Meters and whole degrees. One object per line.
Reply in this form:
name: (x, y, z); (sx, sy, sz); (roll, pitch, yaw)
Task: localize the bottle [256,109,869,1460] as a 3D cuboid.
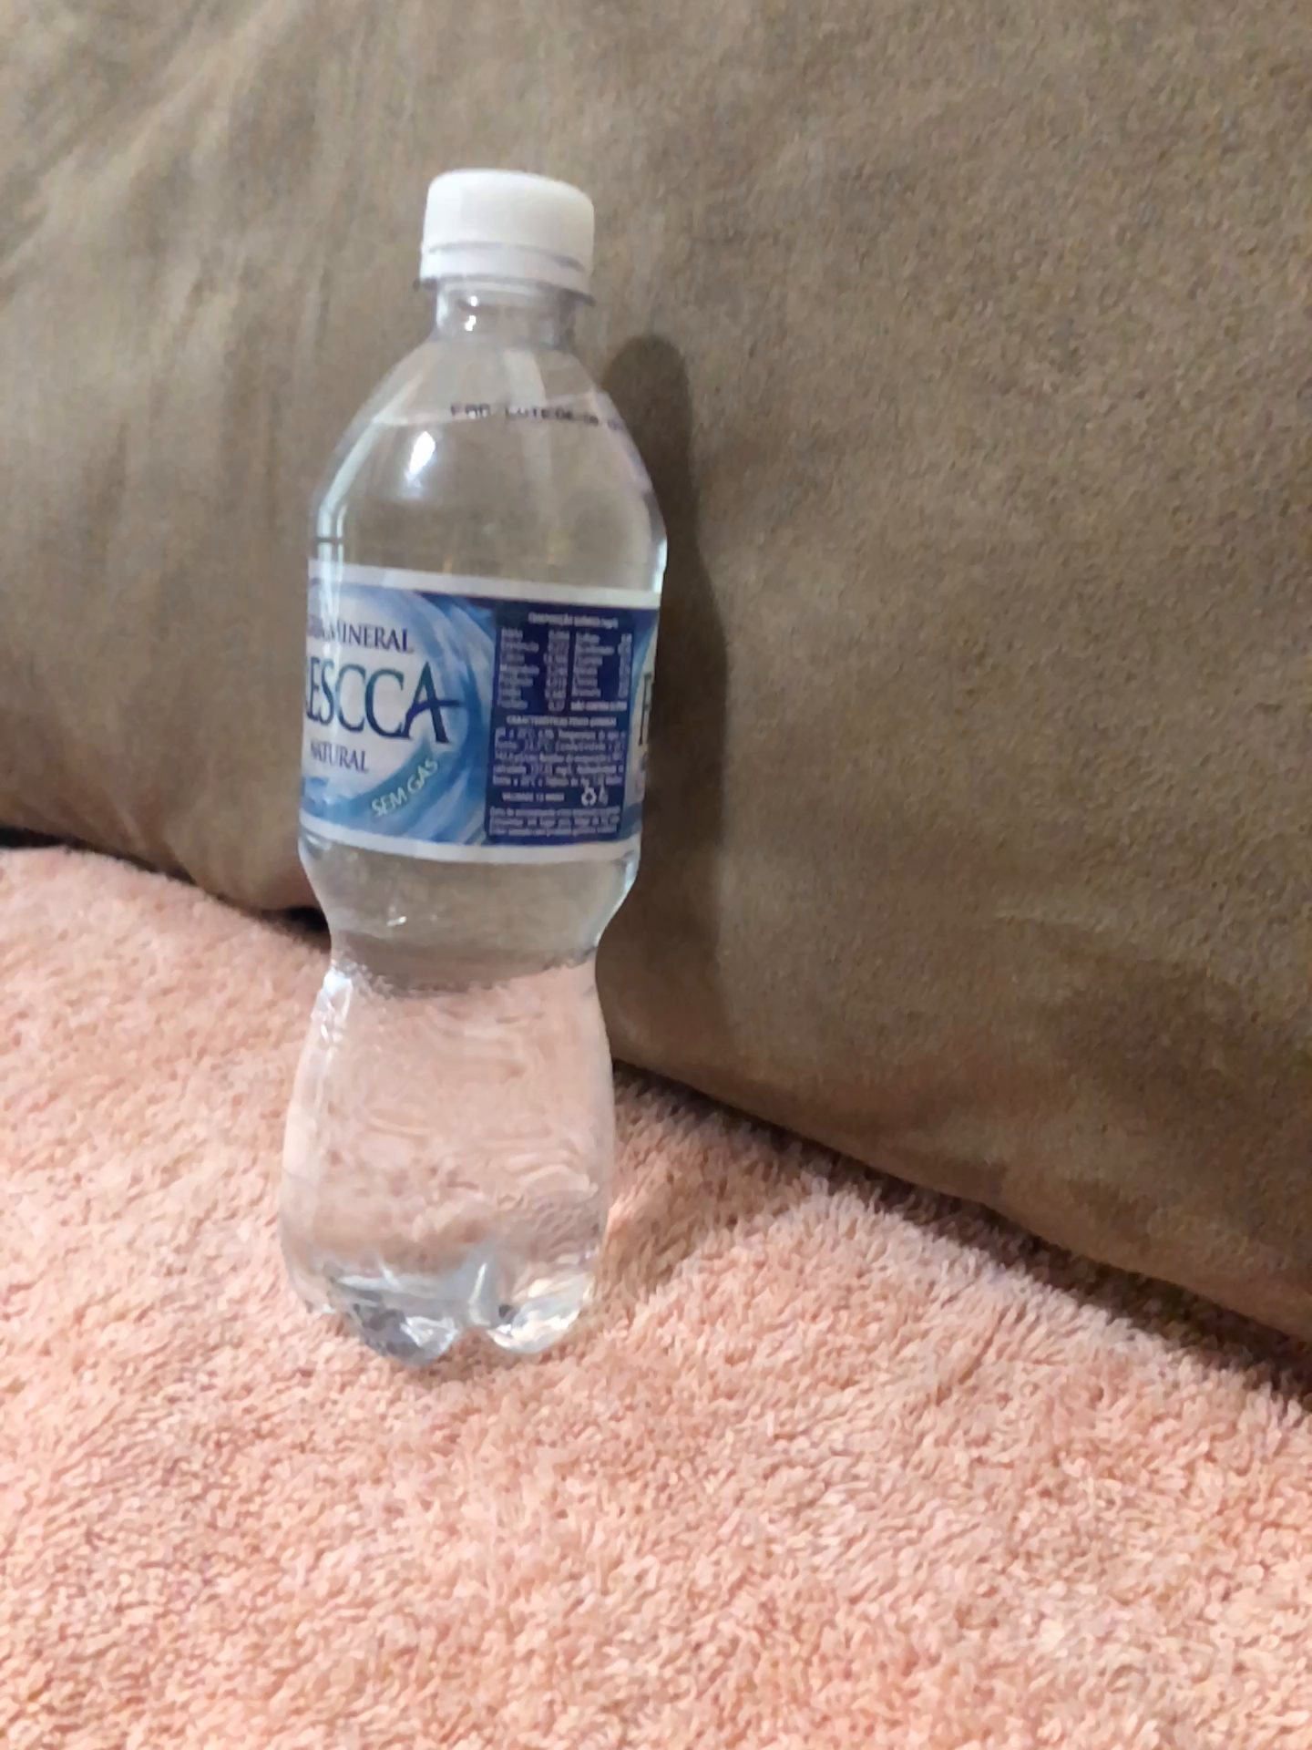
bottle: (-0.022, -0.015, 0.276); (0.080, 0.209, 0.070); (-6, 15, -39)
